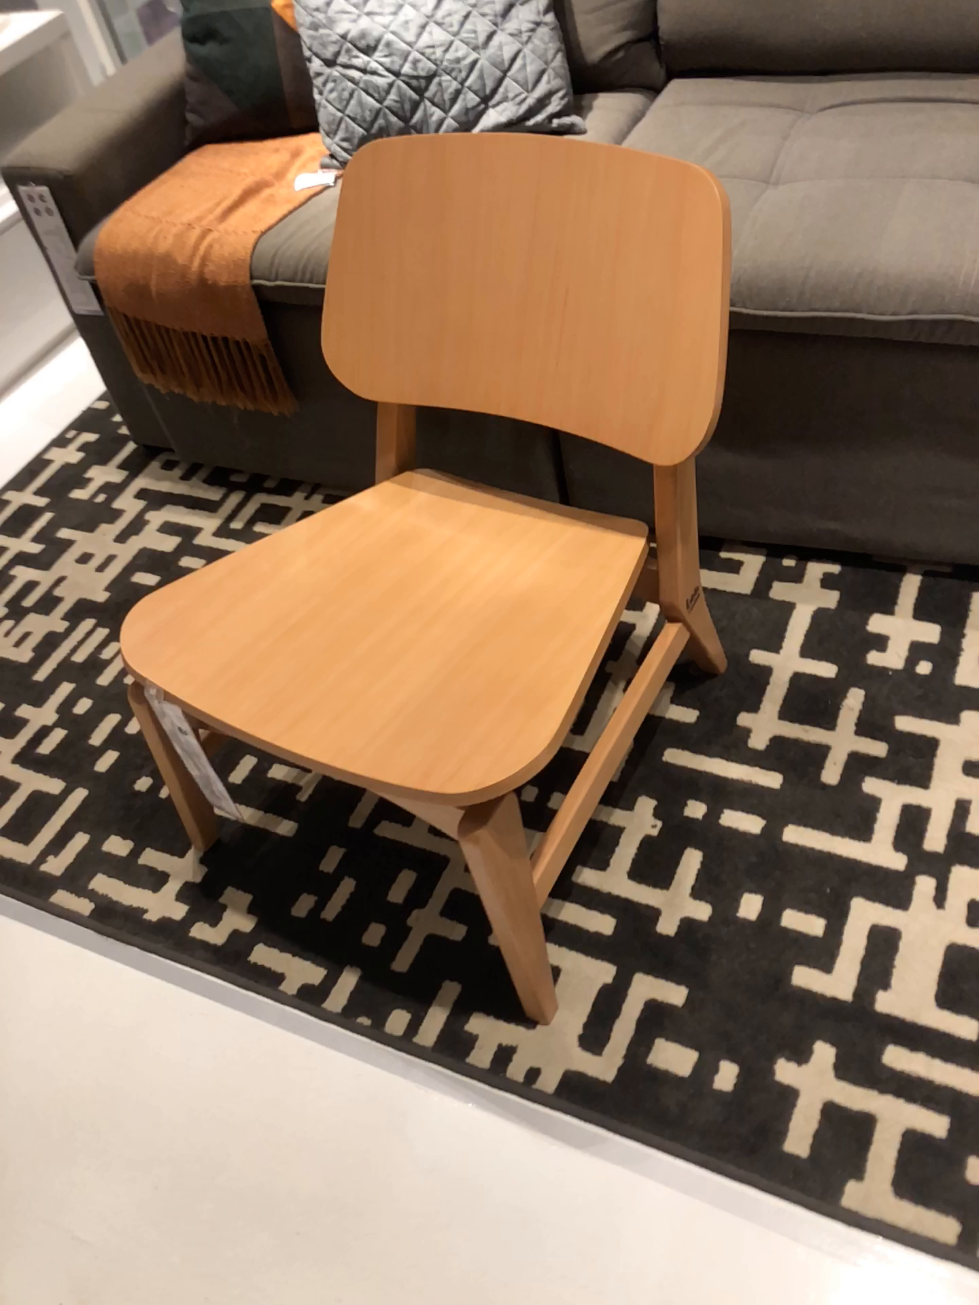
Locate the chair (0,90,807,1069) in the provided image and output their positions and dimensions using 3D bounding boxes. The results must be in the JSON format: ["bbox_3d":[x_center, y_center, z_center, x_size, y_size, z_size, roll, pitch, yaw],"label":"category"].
[{"bbox_3d":[-0.102,-0.120,1.132,0.642,0.625,0.653,17,54,27],"label":"chair"}]
